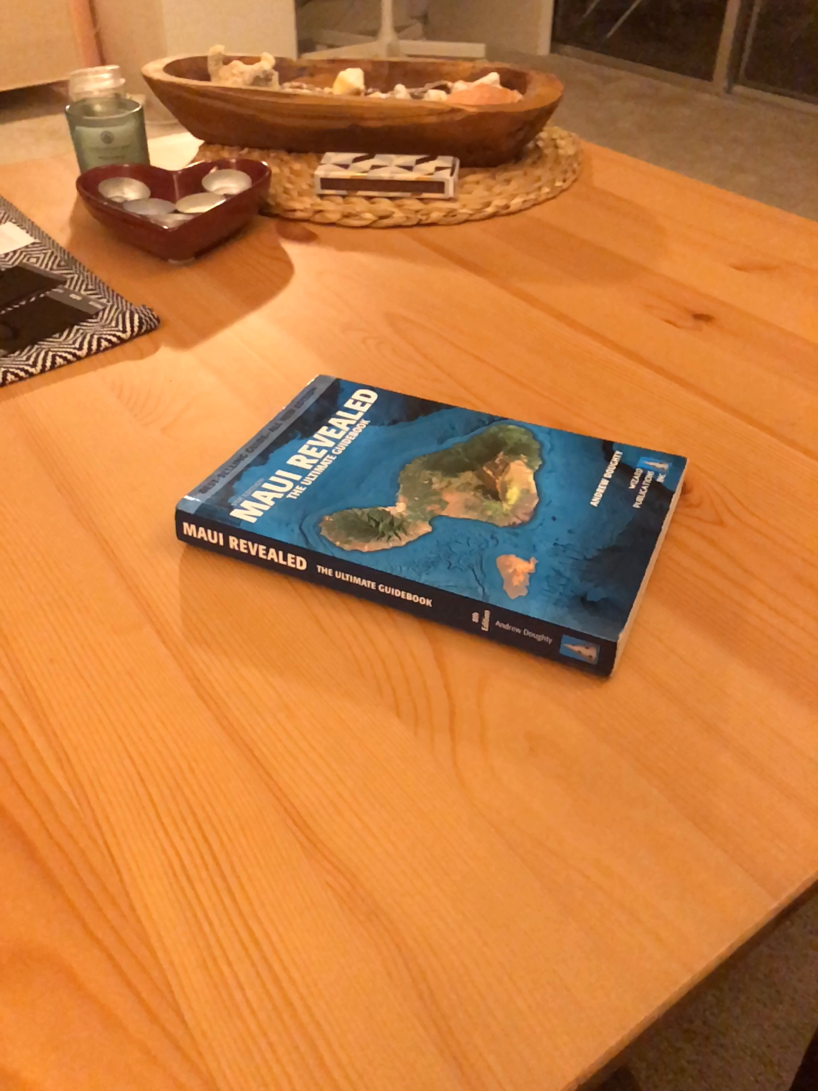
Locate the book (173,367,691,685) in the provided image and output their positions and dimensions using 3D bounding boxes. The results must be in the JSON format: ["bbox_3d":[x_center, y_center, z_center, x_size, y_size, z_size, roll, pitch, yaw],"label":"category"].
[{"bbox_3d":[0.017,-0.023,0.424,0.200,0.020,0.147,17,40,16],"label":"book"}]
